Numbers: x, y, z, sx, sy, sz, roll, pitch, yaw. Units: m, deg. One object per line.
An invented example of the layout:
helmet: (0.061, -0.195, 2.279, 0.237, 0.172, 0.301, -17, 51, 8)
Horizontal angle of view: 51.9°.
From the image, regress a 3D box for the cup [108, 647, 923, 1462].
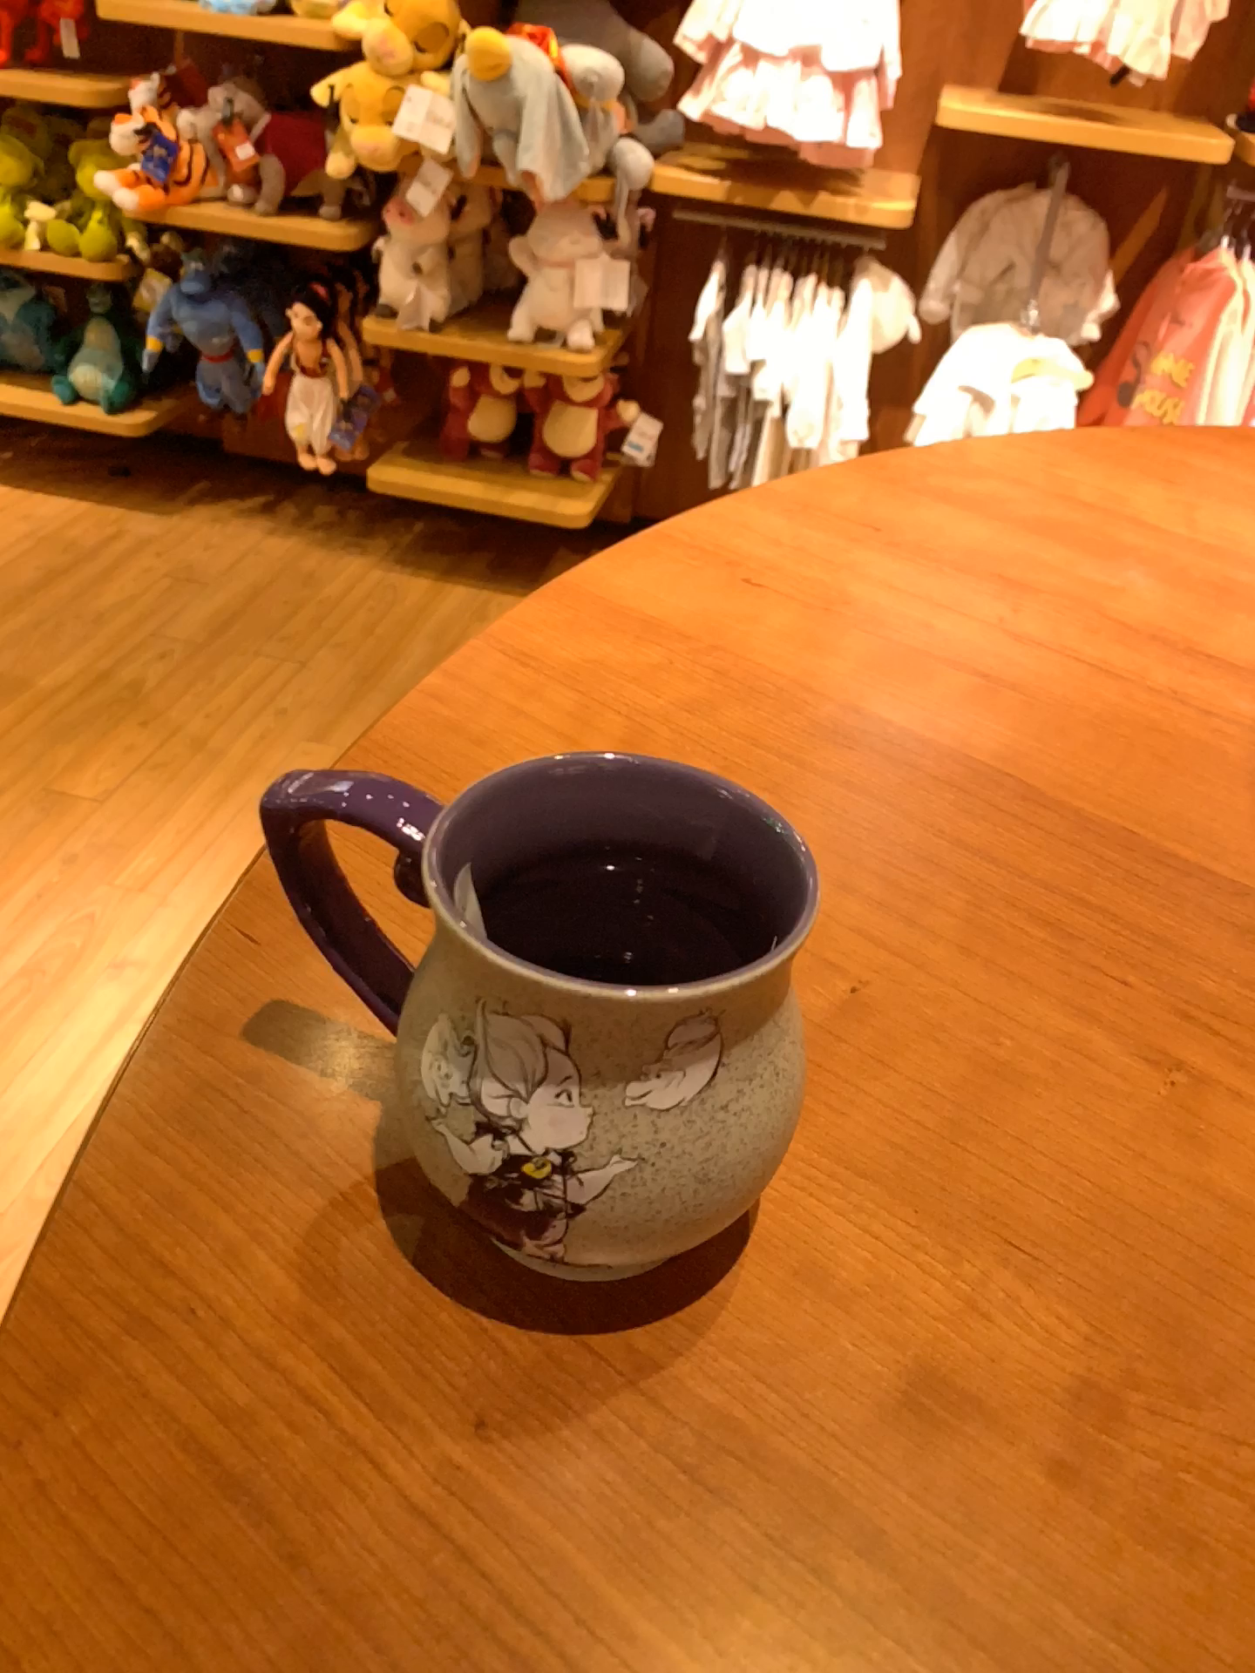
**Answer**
cup: (-0.025, 0.040, 0.314, 0.140, 0.099, 0.115, 24, 39, 22)
